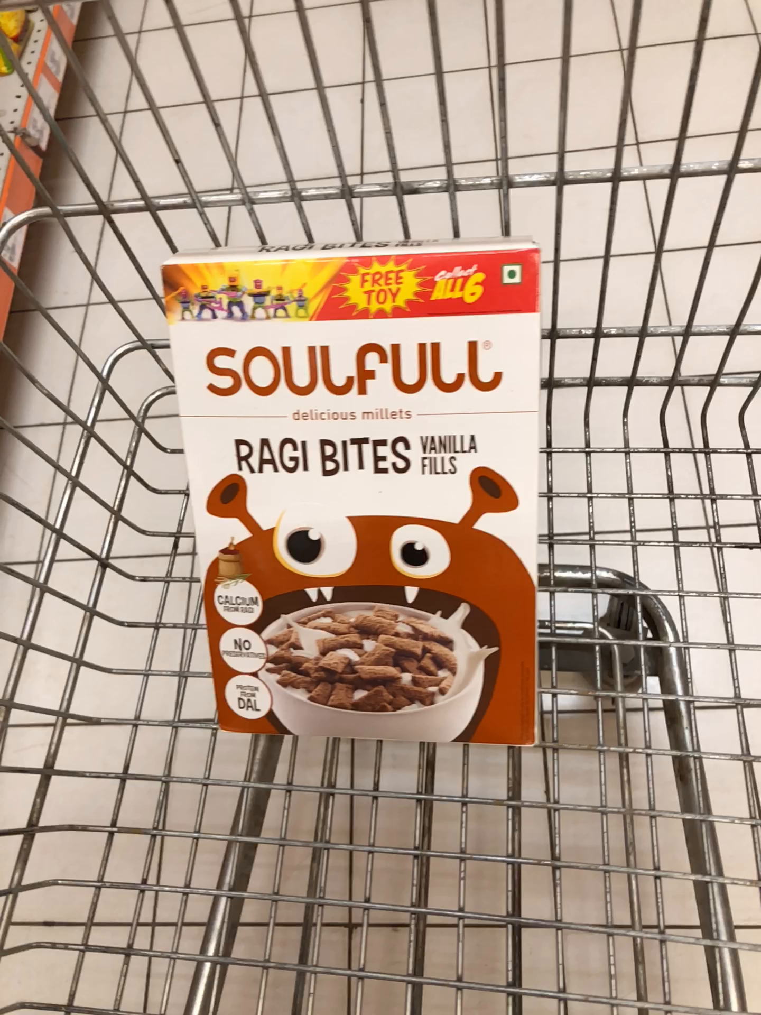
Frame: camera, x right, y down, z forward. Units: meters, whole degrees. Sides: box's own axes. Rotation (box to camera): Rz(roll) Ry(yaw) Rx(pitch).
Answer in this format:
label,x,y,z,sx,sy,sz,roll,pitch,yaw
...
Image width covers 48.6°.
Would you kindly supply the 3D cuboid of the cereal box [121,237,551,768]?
label,x,y,z,sx,sy,sz,roll,pitch,yaw
cereal box,-0.012,0.000,0.423,0.180,0.249,0.070,0,20,8
